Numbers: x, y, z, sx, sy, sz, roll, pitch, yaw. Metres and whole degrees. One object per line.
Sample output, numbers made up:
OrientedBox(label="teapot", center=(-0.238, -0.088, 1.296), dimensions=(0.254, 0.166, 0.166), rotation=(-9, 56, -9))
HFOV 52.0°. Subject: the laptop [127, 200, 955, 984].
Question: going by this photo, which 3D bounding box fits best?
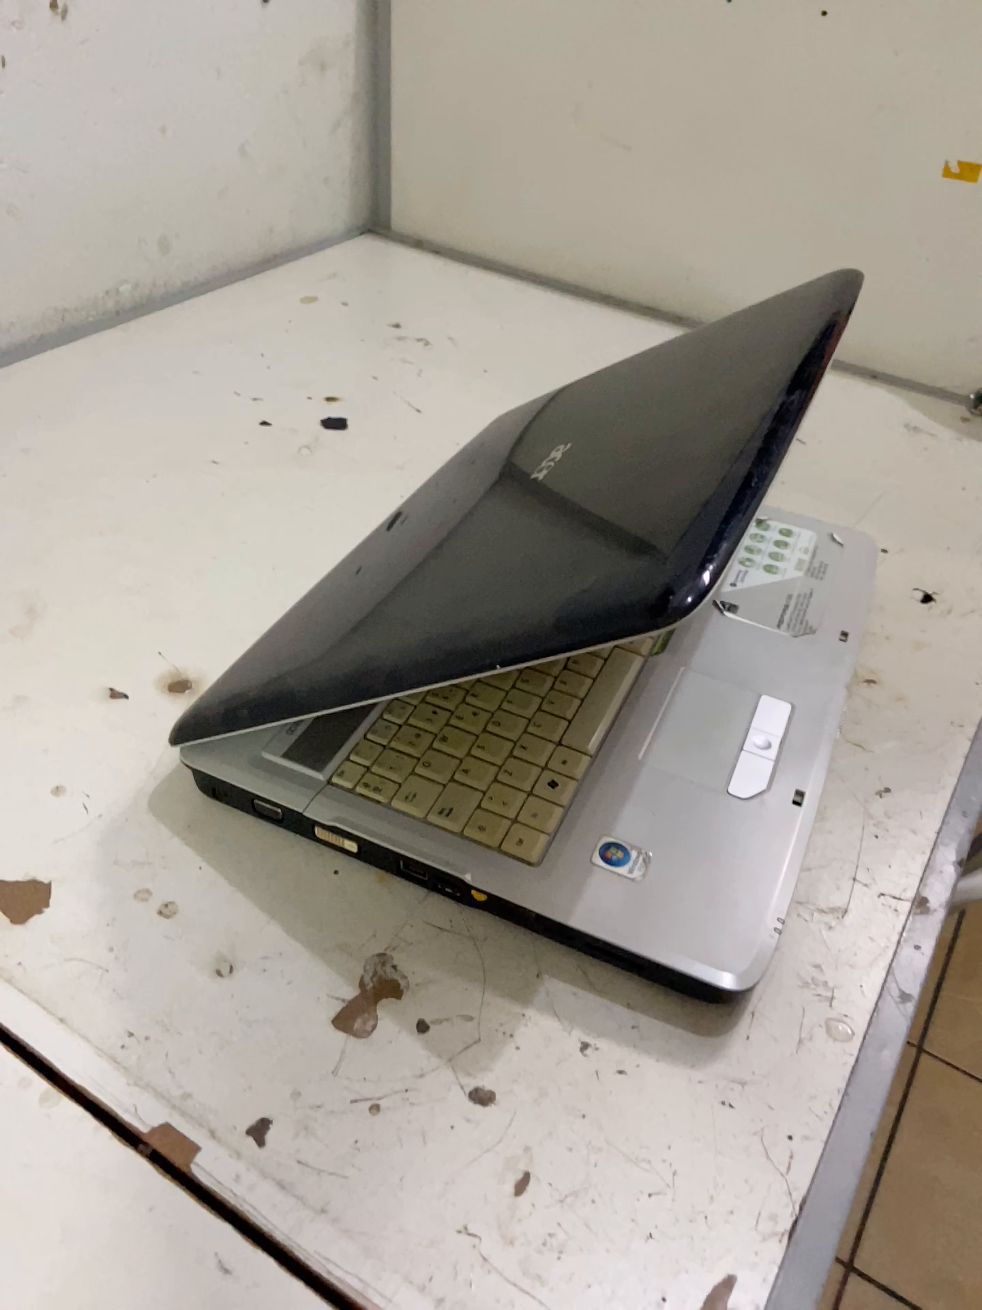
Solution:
OrientedBox(label="laptop", center=(0.058, -0.084, 0.534), dimensions=(0.277, 0.164, 0.382), rotation=(18, 41, 17))
